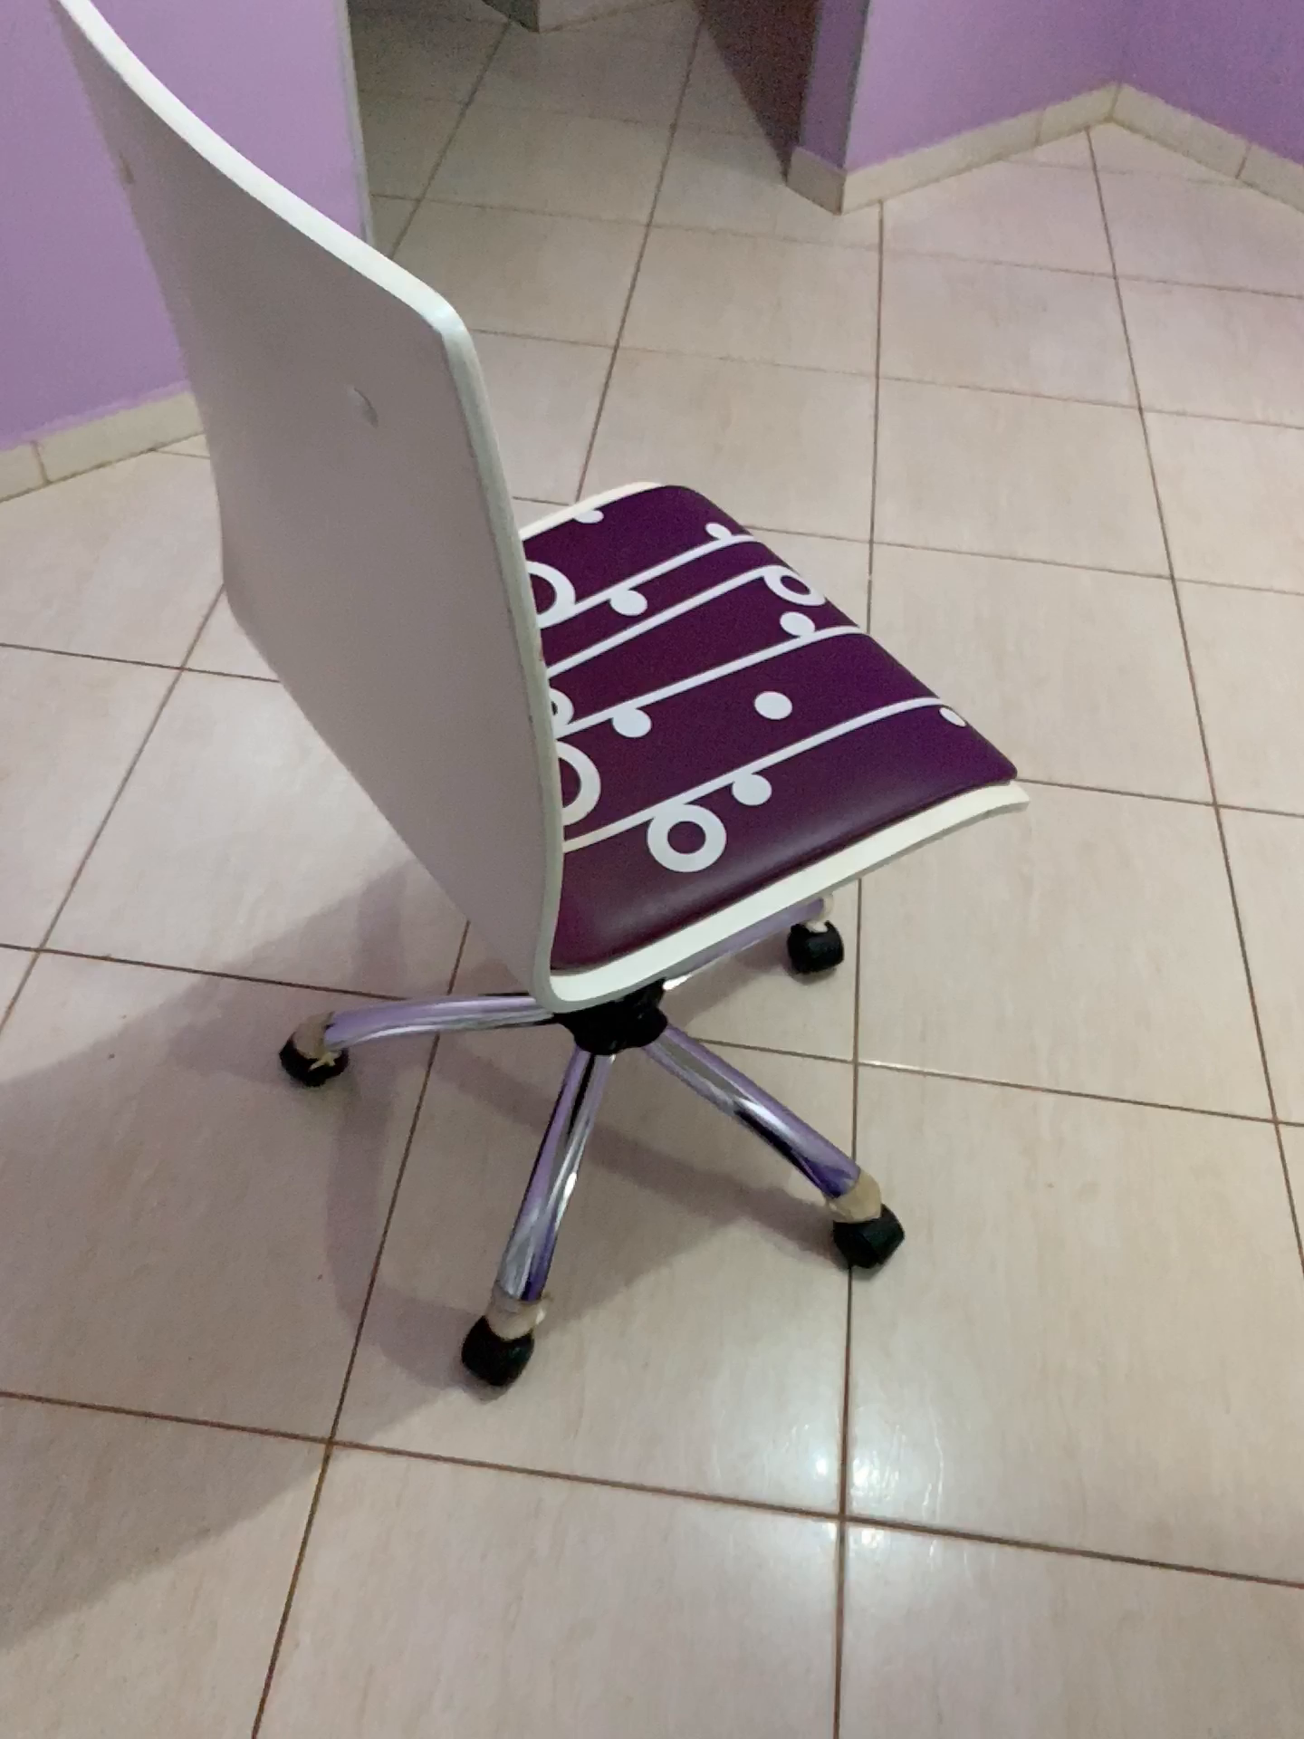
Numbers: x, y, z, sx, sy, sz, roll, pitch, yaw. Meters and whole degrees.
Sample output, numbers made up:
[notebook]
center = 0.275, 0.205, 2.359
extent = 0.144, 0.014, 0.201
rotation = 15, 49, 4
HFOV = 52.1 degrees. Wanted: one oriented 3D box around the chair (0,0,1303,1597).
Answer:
[chair]
center = -0.049, -0.070, 1.003
extent = 0.622, 1.007, 0.688
rotation = -26, 58, -23
